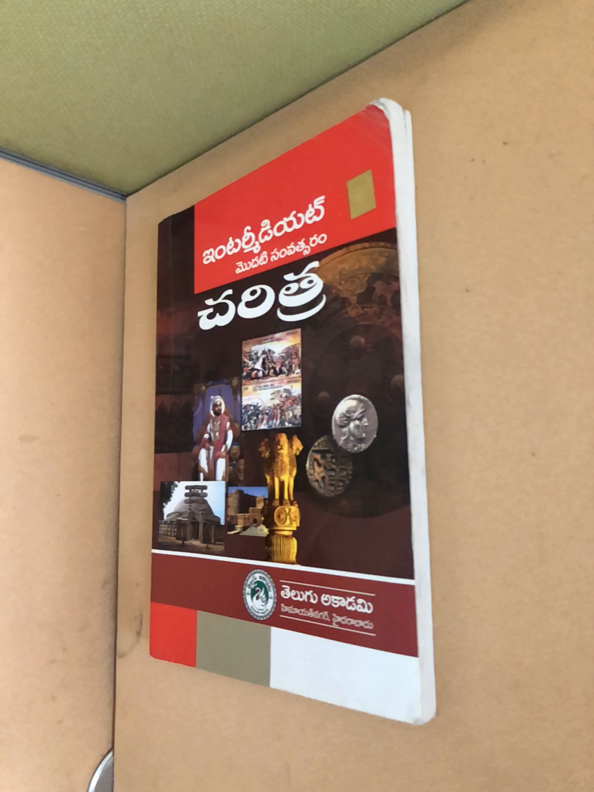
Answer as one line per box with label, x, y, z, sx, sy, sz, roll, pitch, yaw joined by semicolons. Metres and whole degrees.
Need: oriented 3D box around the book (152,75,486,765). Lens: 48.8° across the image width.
book;-0.006;0.011;0.353;0.201;0.030;0.290;-10;77;44
